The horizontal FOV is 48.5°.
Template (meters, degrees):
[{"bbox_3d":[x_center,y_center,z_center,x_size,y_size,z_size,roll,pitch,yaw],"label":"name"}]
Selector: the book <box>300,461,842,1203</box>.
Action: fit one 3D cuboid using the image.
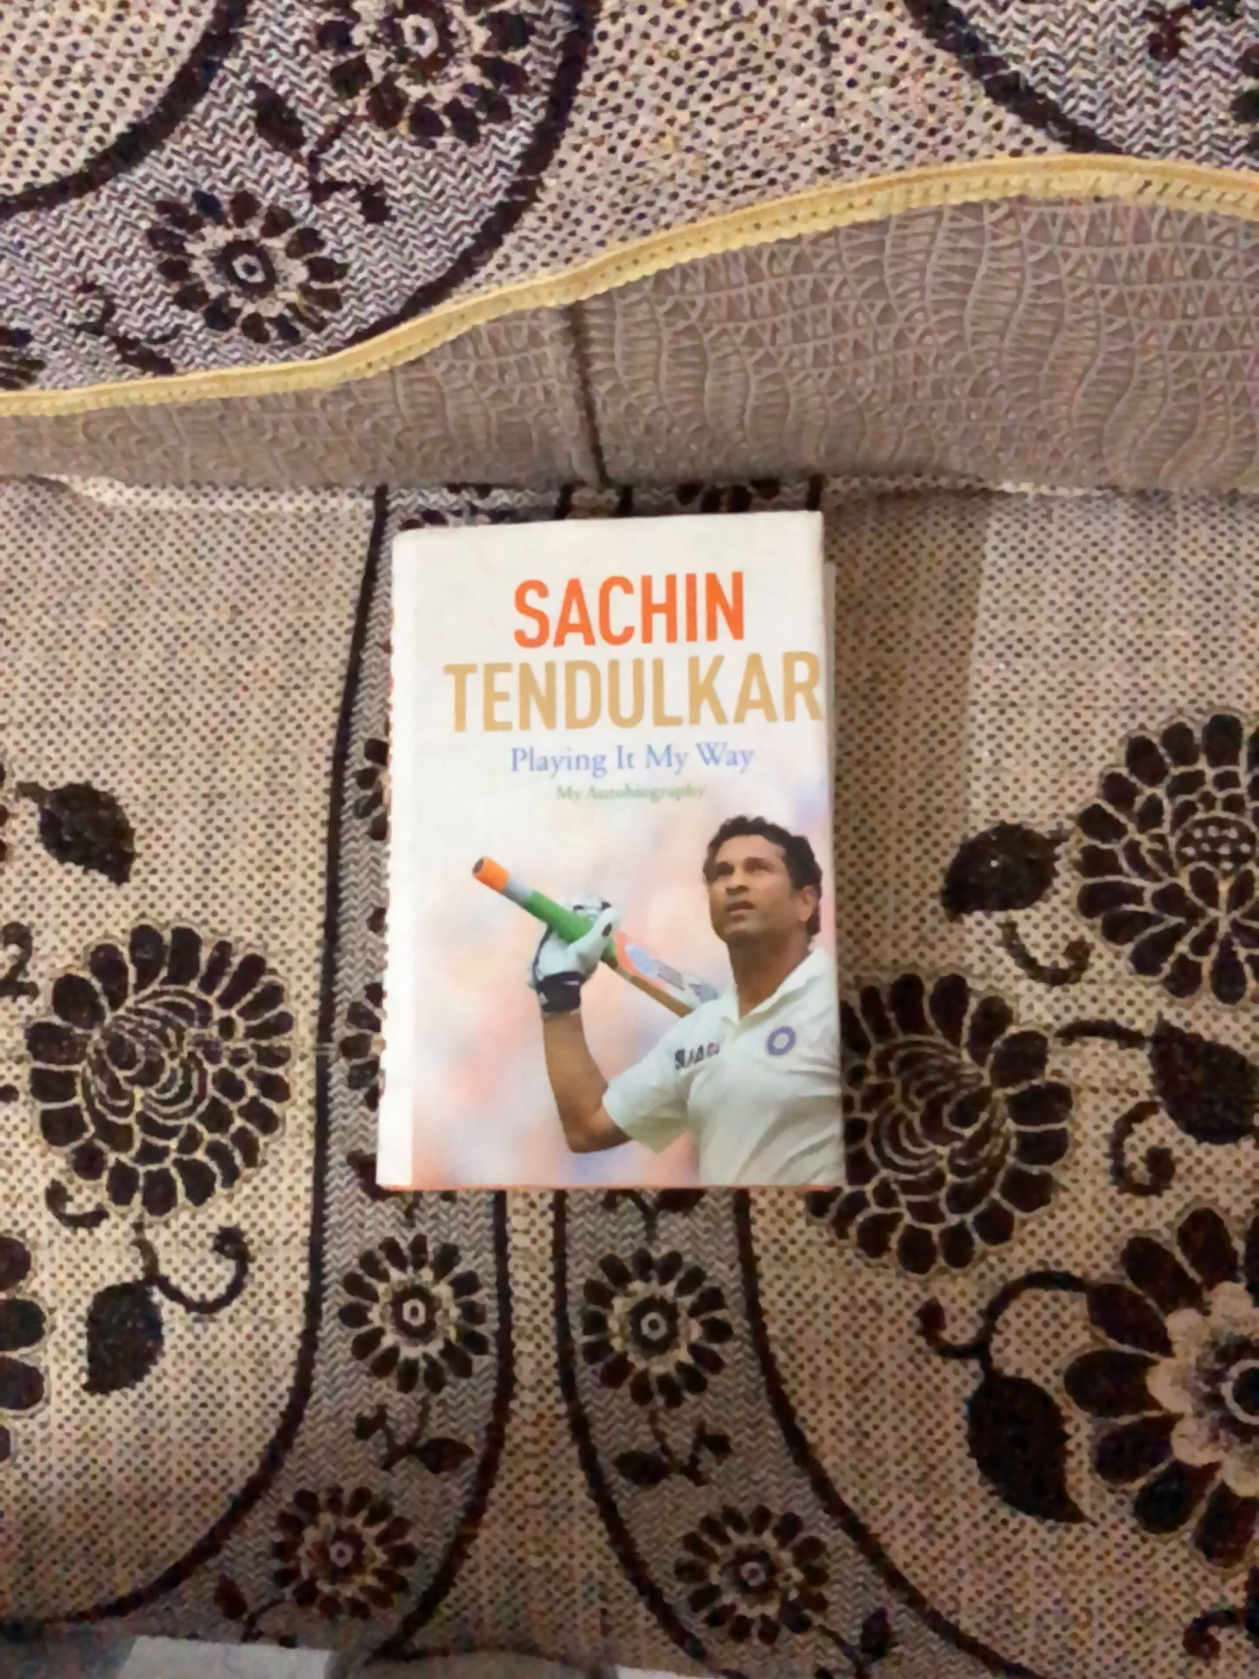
[{"bbox_3d":[-0.019,-0.001,0.520,0.180,0.070,0.260,-1,79,4],"label":"book"}]
